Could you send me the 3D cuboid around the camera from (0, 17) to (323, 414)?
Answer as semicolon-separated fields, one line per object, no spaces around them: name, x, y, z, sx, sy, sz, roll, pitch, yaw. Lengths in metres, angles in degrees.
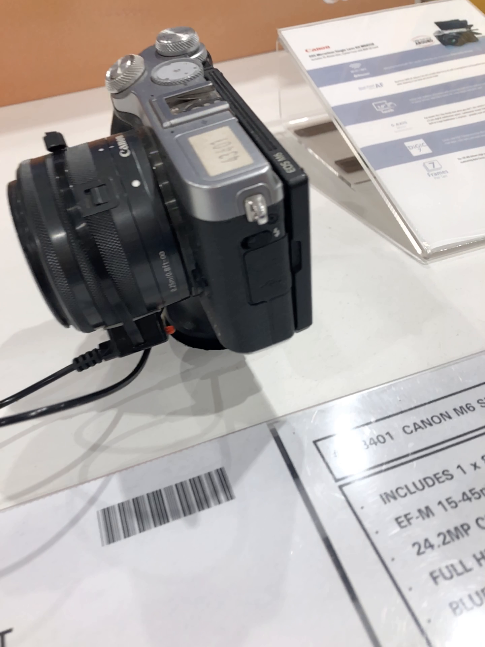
camera;-0.032;-0.043;0.190;0.083;0.075;0.103;-19;46;-8
